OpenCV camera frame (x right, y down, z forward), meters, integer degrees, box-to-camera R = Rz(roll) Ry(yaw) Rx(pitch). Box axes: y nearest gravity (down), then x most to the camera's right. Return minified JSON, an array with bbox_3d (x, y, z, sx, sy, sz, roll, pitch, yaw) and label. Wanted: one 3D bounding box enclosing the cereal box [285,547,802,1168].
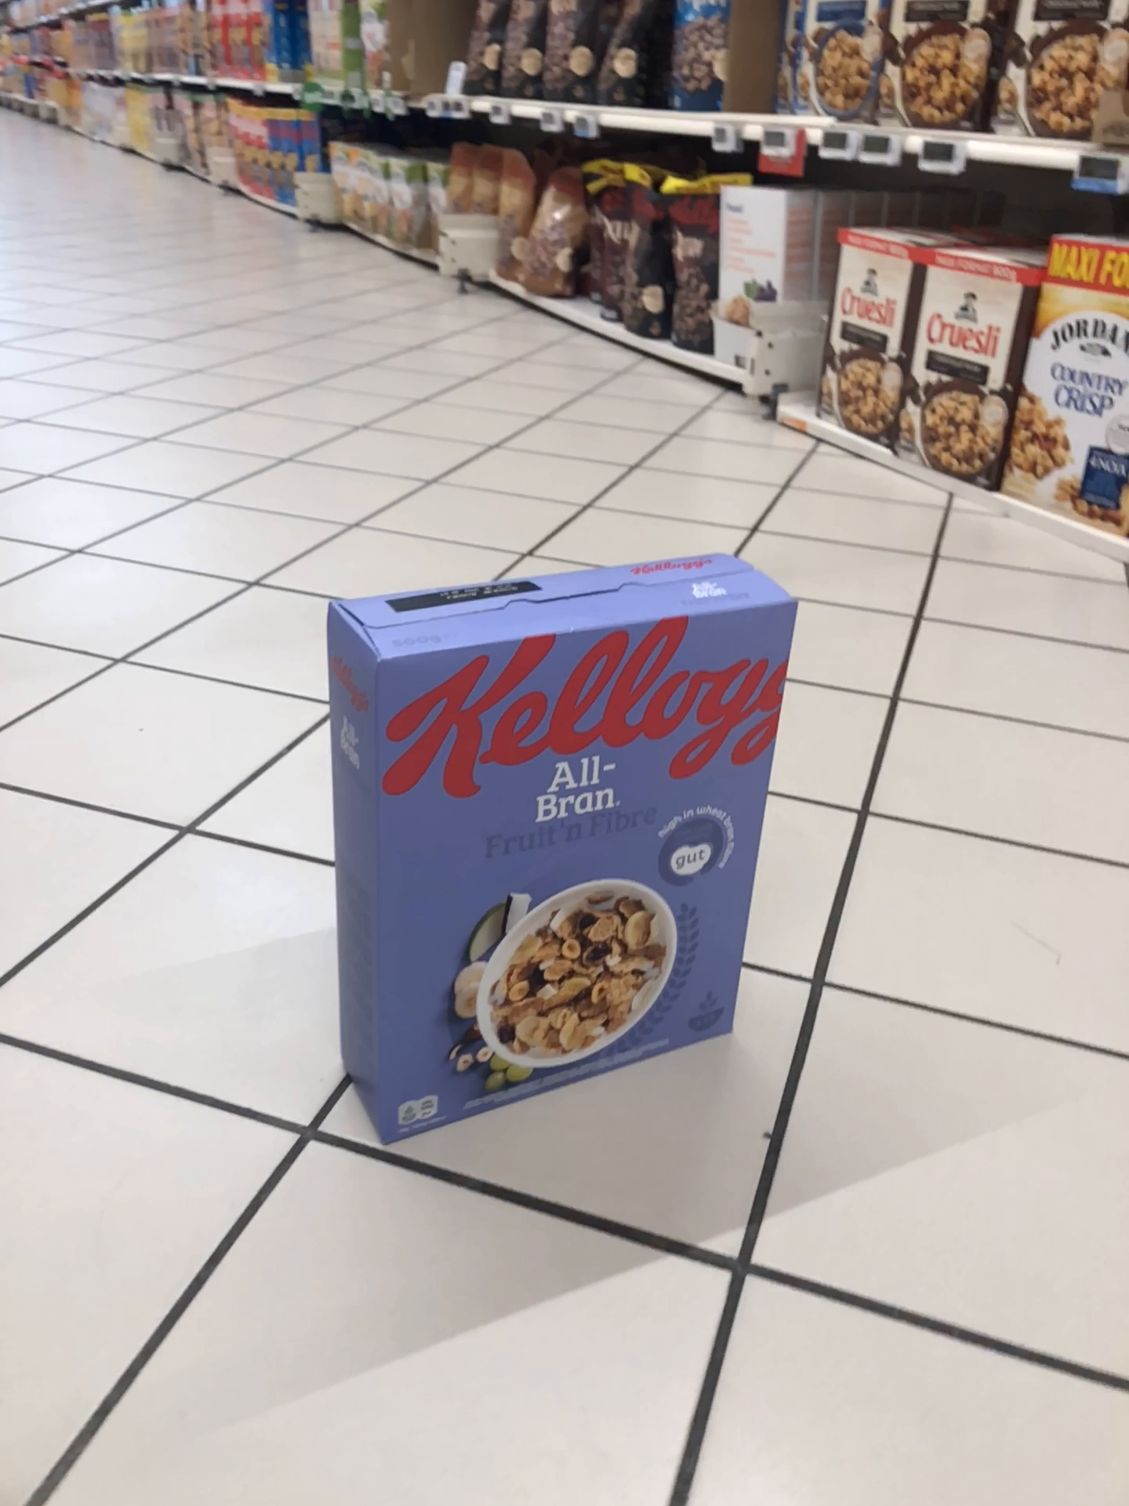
[{"bbox_3d":[-0.011,0.043,0.558,0.201,0.239,0.070,-10,30,-25],"label":"cereal box"}]
